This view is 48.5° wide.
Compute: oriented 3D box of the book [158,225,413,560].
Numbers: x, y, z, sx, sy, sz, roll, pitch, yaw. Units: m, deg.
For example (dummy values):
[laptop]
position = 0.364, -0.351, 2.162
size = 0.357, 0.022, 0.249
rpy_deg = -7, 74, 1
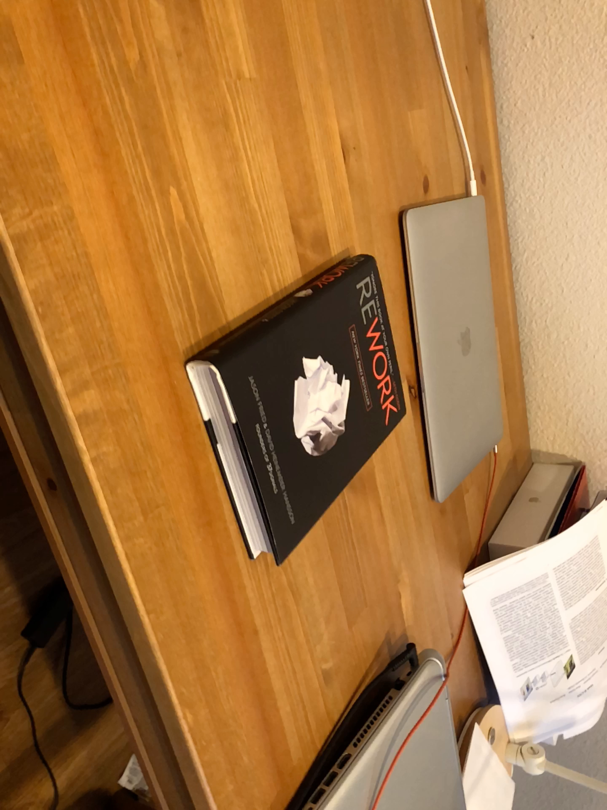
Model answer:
[book]
position = 0.007, -0.022, 0.510
size = 0.231, 0.040, 0.160
rpy_deg = -44, 126, -47
